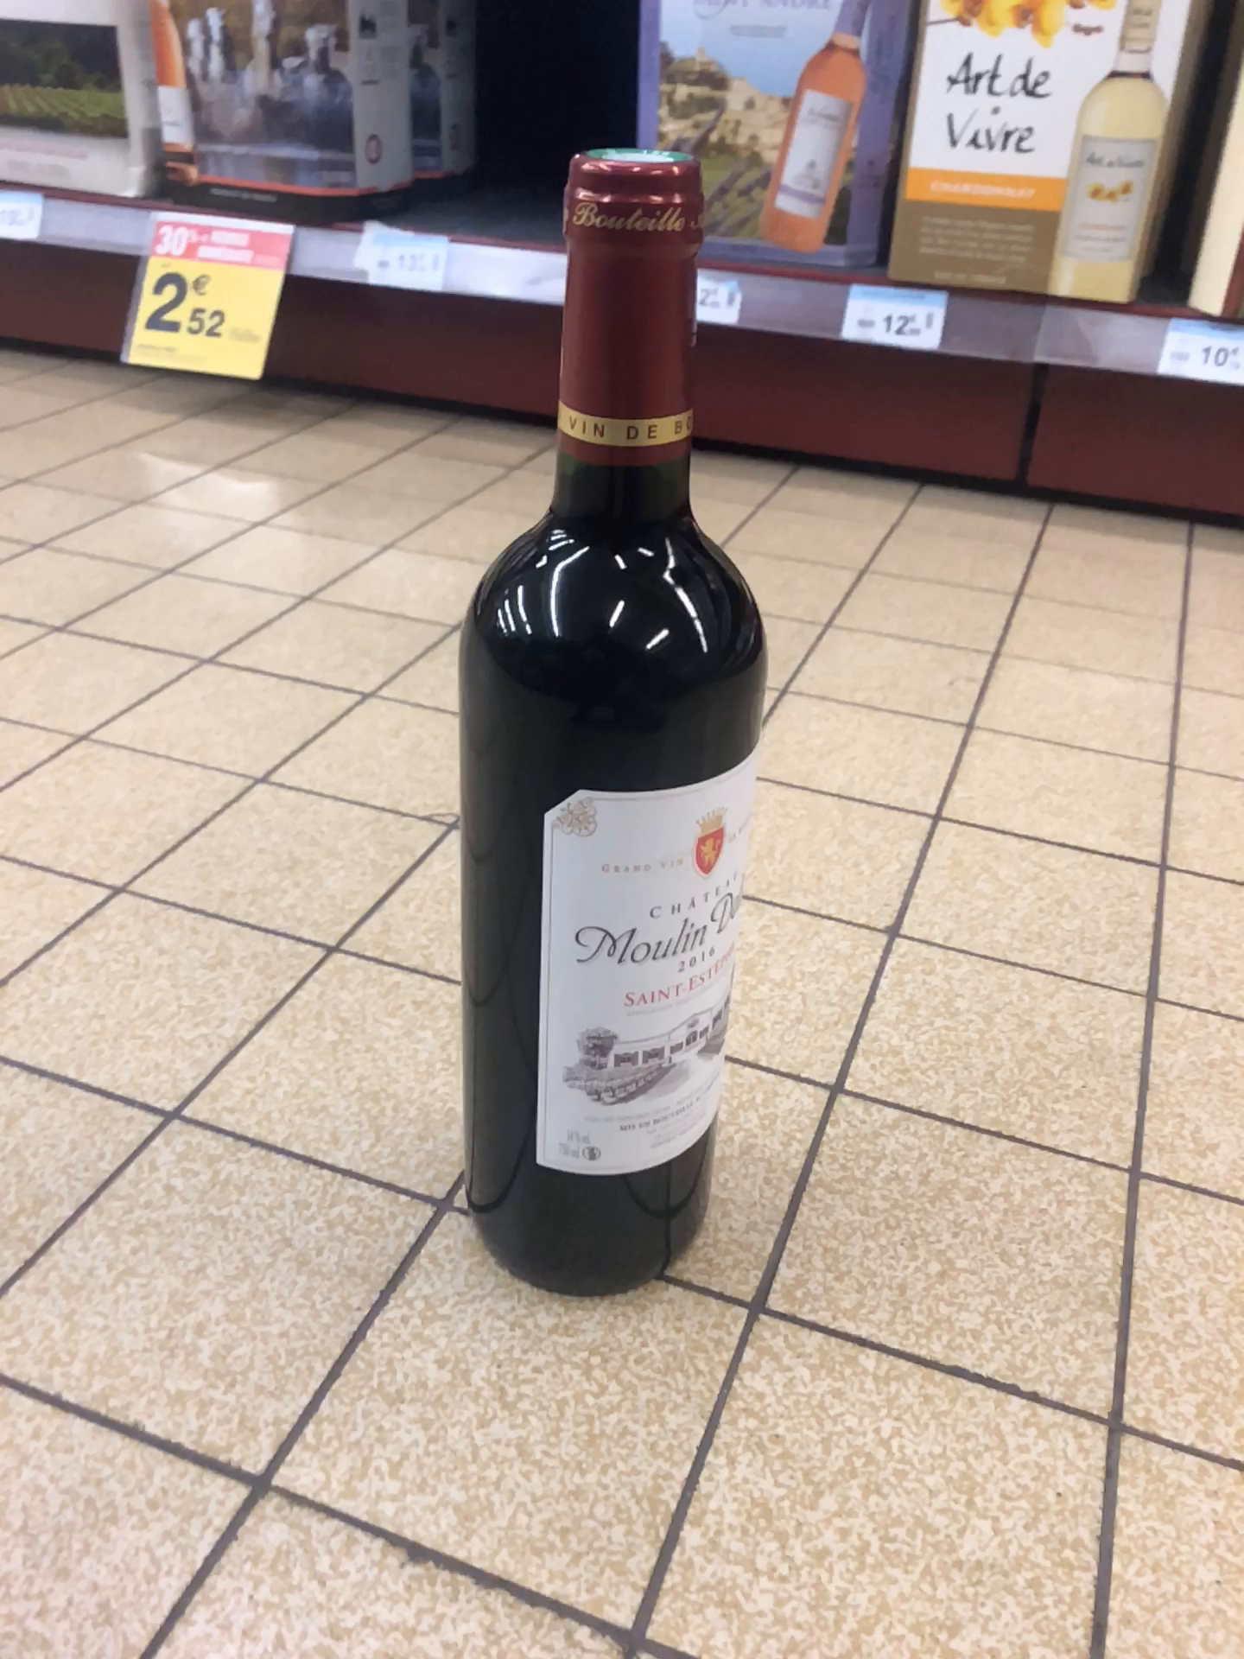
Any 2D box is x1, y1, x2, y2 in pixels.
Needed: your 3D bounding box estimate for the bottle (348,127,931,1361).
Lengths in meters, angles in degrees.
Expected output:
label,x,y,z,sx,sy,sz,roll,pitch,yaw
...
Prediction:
label,x,y,z,sx,sy,sz,roll,pitch,yaw
bottle,-0.003,-0.011,0.336,0.080,0.281,0.080,2,30,-1
